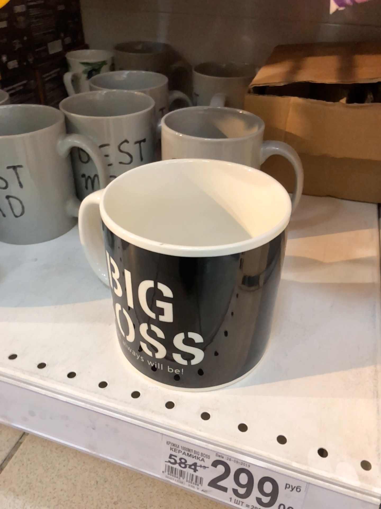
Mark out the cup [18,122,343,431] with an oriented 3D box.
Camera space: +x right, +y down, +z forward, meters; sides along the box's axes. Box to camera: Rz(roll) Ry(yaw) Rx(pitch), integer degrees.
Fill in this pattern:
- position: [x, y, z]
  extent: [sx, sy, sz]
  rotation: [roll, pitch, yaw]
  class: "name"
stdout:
- position: [-0.014, -0.004, 0.323]
  extent: [0.128, 0.122, 0.189]
  rotation: [-29, 45, -35]
  class: "cup"
